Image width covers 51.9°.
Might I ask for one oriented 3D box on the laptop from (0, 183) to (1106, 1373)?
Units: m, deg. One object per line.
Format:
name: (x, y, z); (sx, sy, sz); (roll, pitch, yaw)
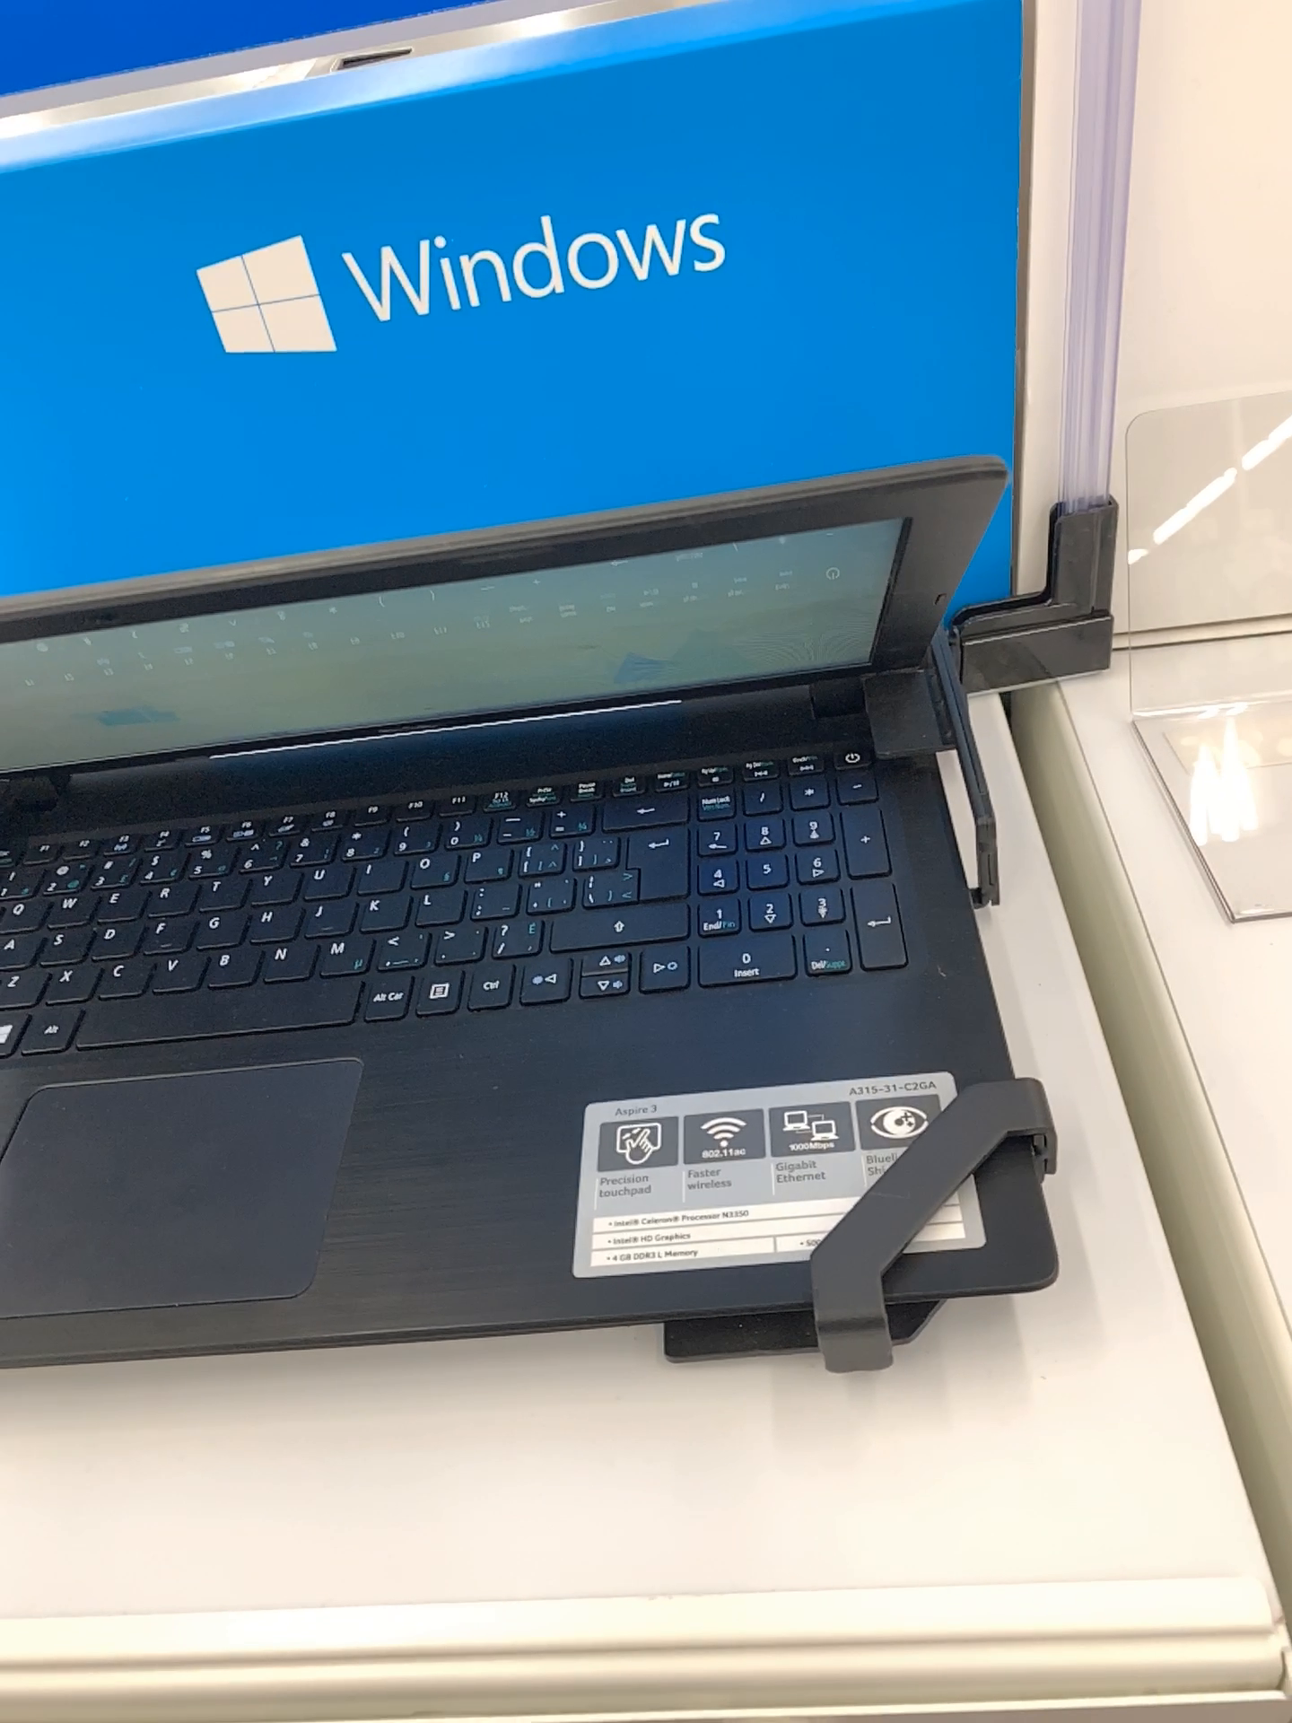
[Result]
laptop: (-0.092, -0.028, 0.337); (0.344, 0.157, 0.234); (-6, 40, 8)
